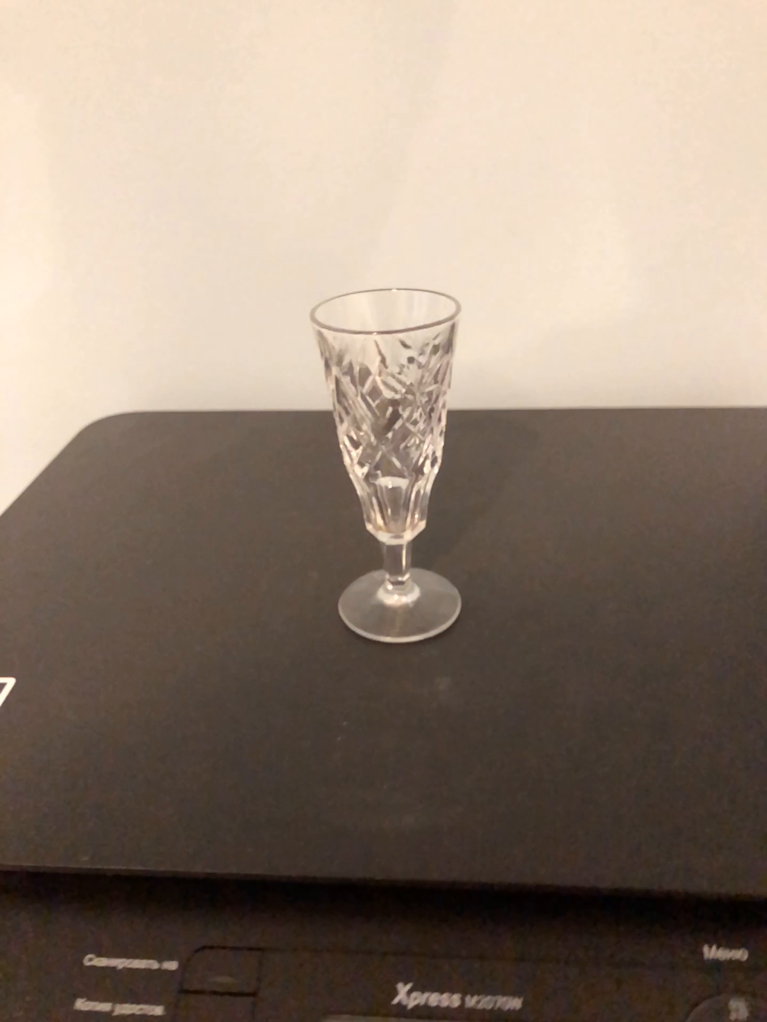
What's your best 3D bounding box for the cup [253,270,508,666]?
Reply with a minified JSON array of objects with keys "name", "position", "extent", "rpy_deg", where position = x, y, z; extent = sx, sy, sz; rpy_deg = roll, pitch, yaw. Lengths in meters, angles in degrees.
[{"name":"cup","position":[0.001,-0.016,0.287],"extent":[0.057,0.109,0.054],"rpy_deg":[-2,29,1]}]
